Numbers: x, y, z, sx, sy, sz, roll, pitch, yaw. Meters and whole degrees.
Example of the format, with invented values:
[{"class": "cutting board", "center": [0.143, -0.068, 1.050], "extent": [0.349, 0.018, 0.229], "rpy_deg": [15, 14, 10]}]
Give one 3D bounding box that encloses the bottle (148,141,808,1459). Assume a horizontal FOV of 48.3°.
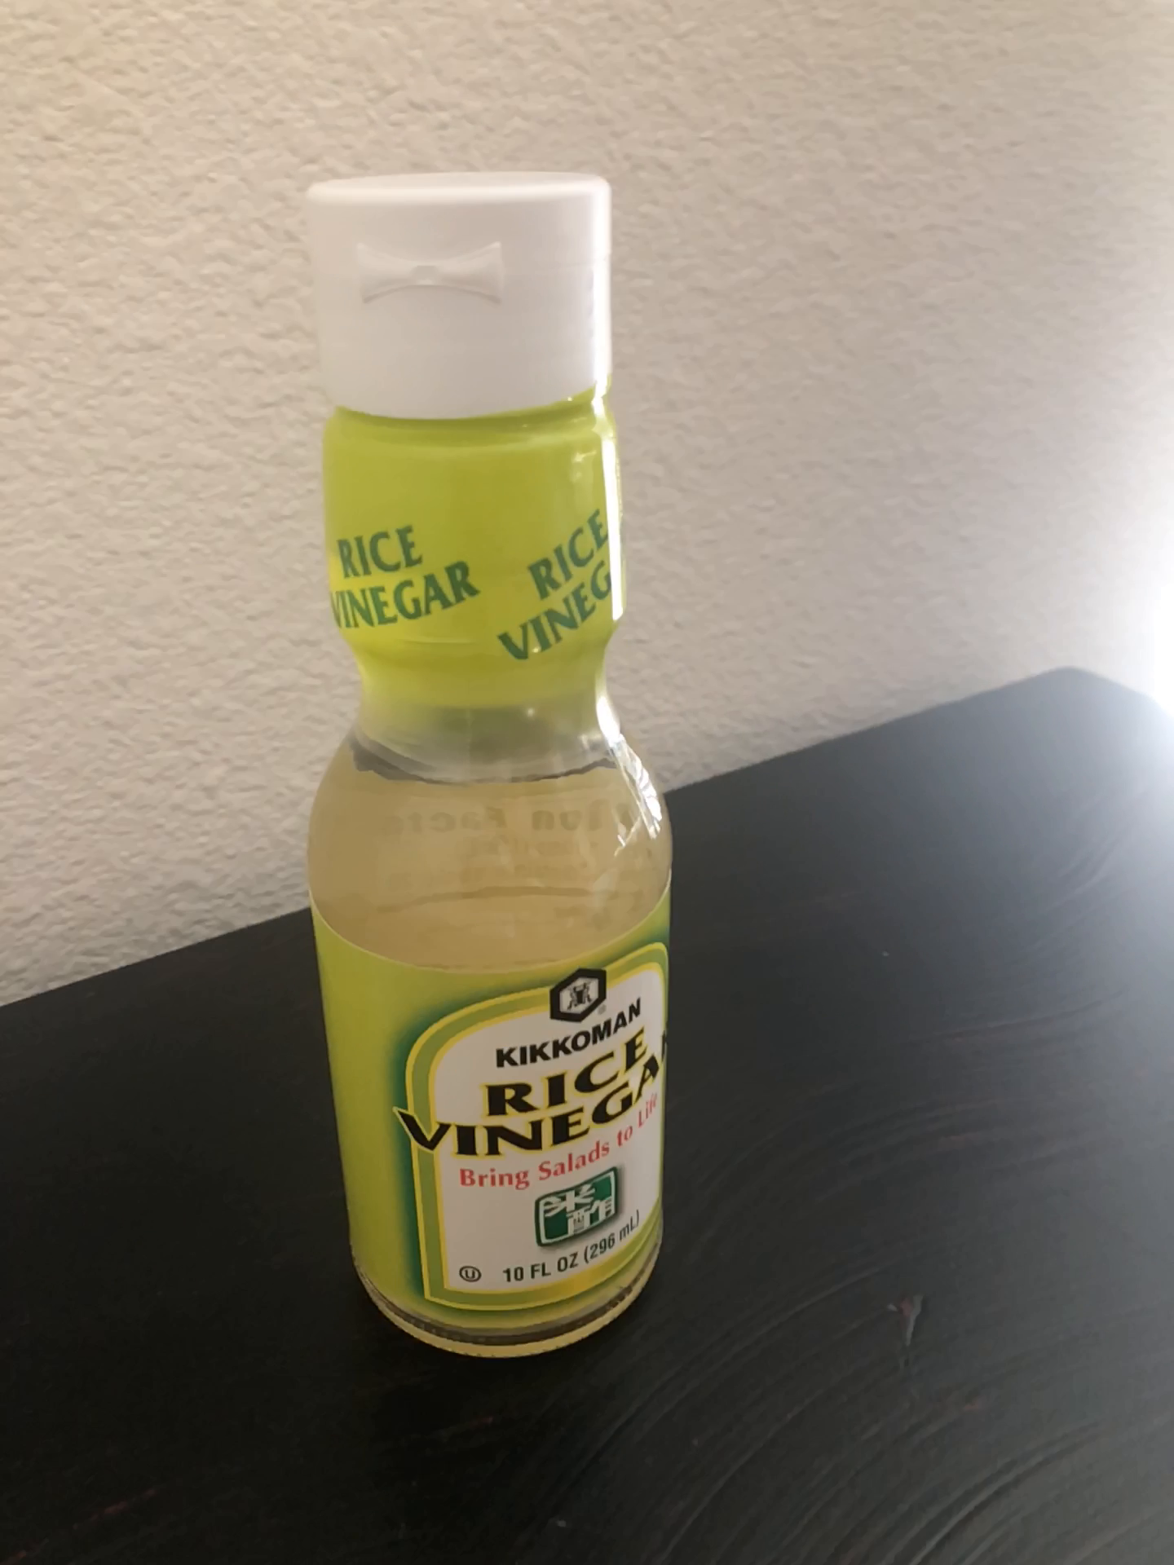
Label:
[{"class": "bottle", "center": [-0.016, 0.004, 0.220], "extent": [0.070, 0.199, 0.070], "rpy_deg": [-1, 26, 1]}]
